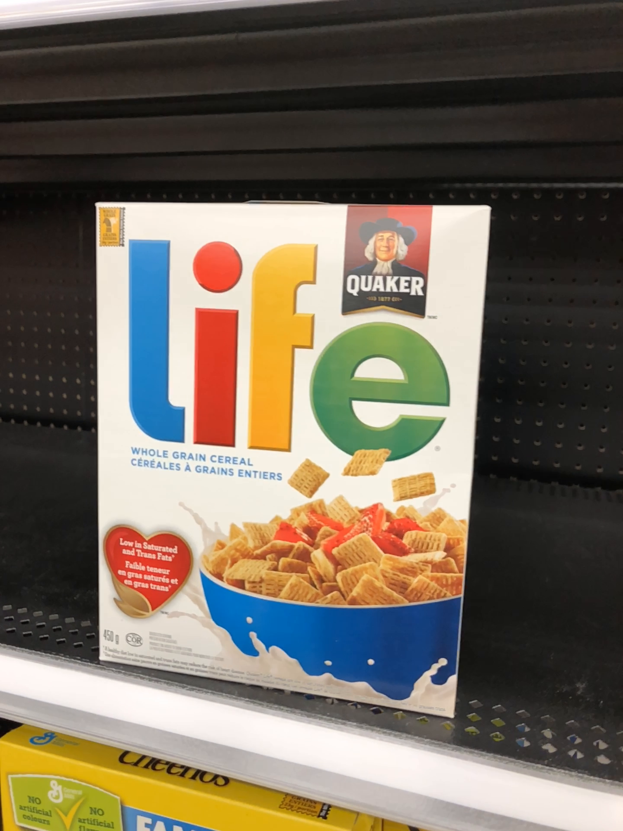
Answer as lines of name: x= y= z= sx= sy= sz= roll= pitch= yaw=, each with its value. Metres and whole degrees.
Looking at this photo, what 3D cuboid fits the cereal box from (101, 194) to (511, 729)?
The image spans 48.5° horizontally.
cereal box: x=-0.007 y=0.018 z=0.379 sx=0.200 sy=0.259 sz=0.060 roll=4 pitch=10 yaw=12
